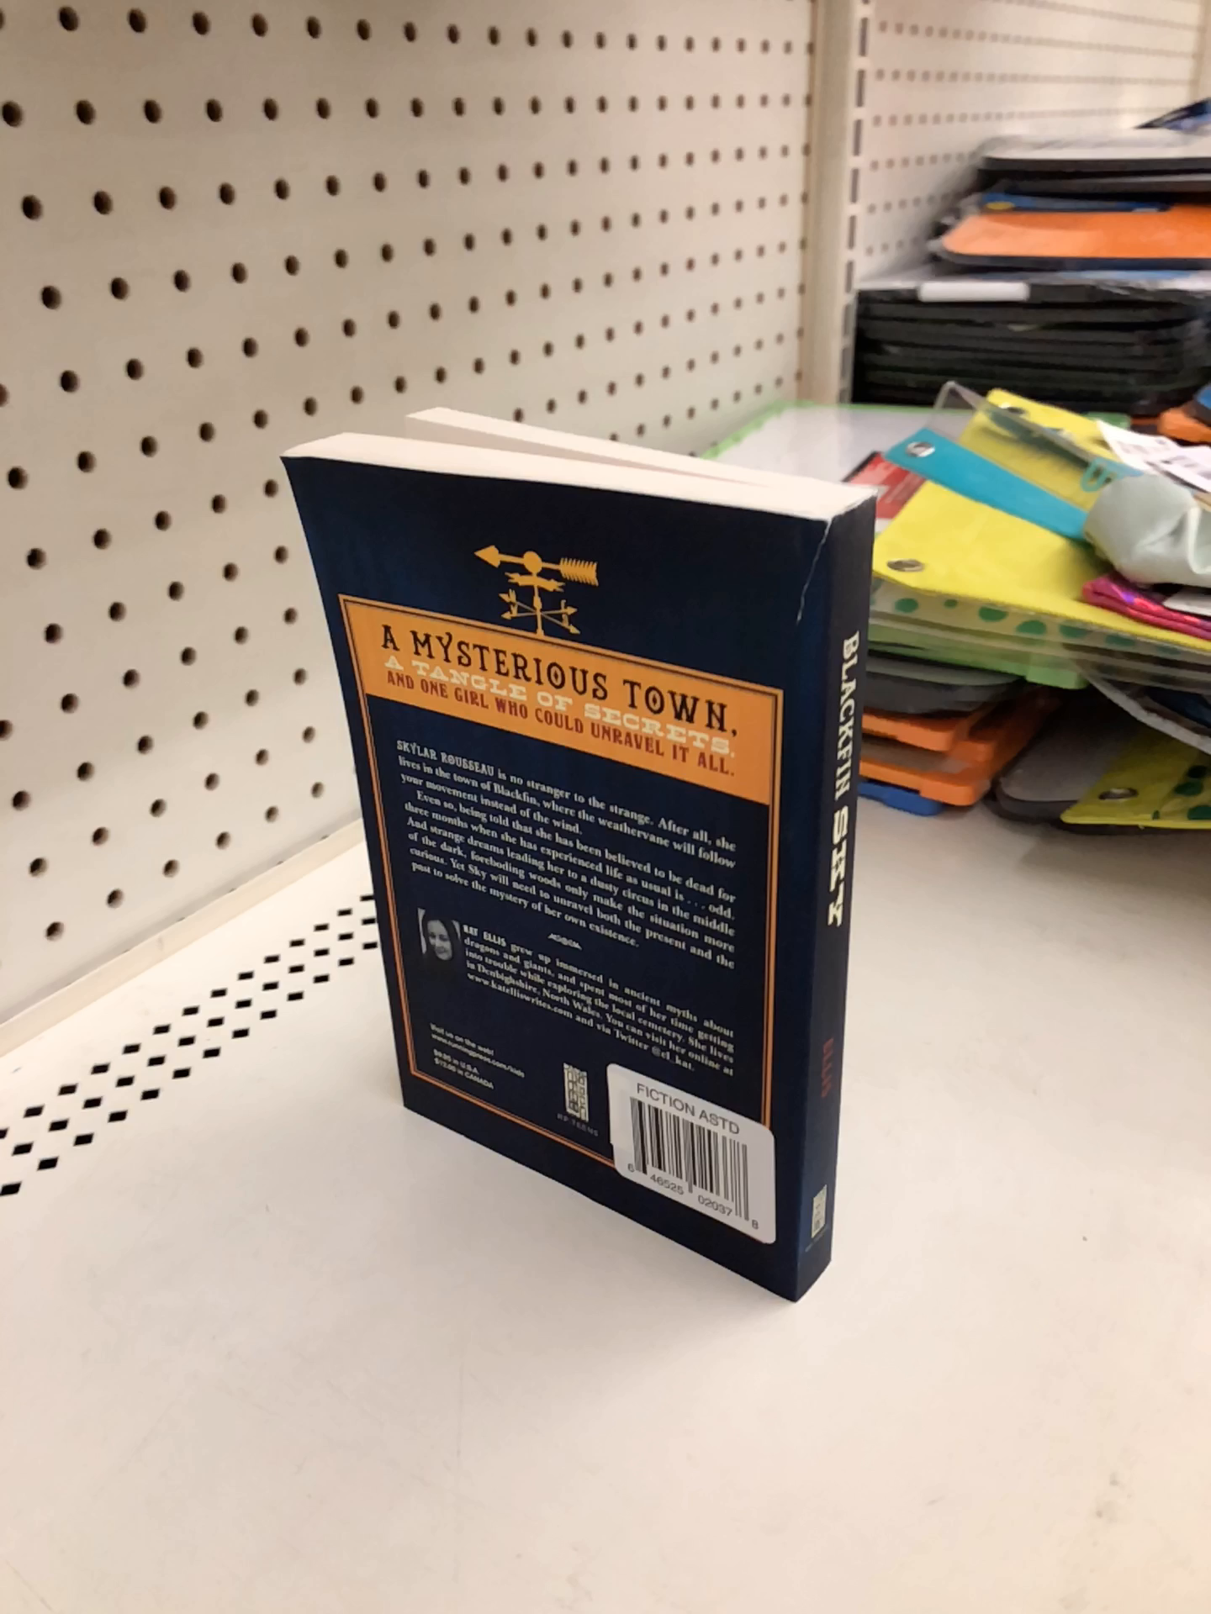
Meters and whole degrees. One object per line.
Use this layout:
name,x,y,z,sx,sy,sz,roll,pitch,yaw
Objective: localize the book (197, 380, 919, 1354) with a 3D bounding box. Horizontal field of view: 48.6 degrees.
book,-0.012,0.012,0.337,0.150,0.205,0.059,18,35,32
